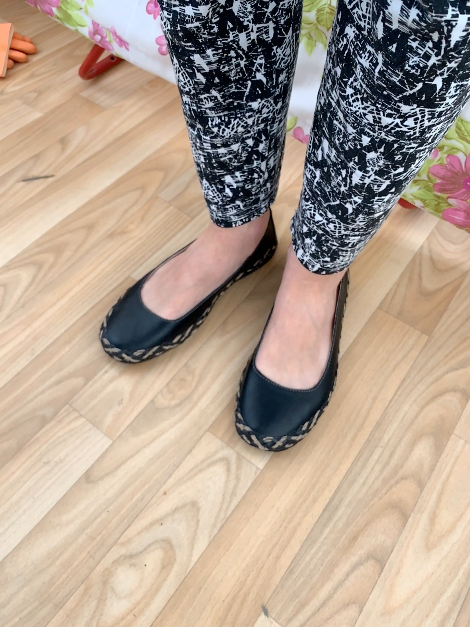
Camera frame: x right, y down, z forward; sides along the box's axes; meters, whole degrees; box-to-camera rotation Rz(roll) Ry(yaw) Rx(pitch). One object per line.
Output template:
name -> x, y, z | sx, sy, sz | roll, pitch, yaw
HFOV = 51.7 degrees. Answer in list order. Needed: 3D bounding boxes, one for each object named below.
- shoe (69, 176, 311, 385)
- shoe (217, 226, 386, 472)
shoe -> -0.043, -0.048, 0.566 | 0.265, 0.070, 0.100 | -38, 64, -23
shoe -> 0.077, 0.025, 0.521 | 0.100, 0.060, 0.251 | 19, 58, 11
